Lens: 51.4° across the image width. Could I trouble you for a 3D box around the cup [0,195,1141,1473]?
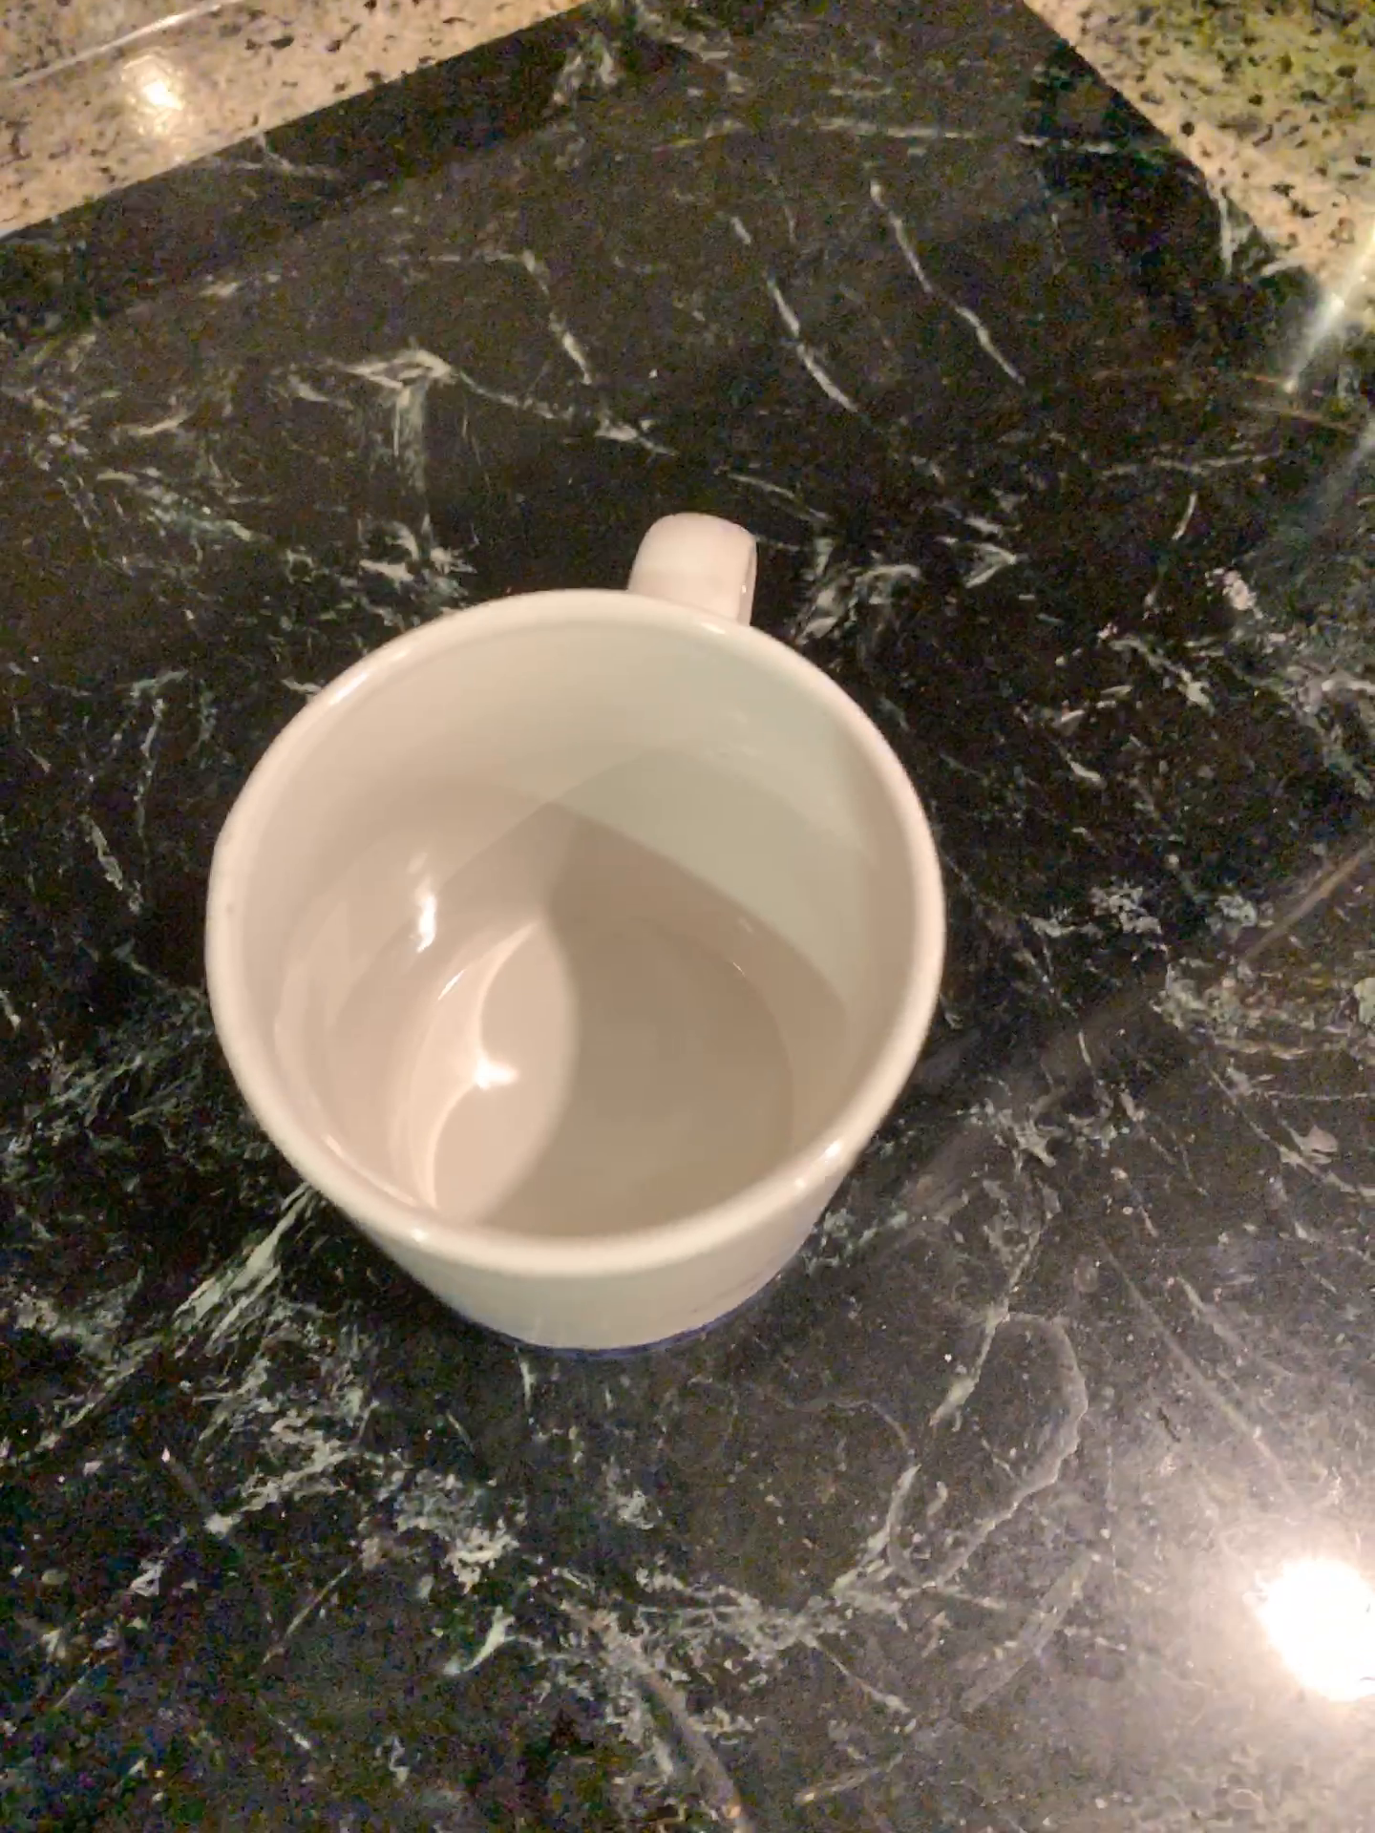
[{"bbox_3d":[-0.005,-0.003,0.197,0.090,0.099,0.131,13,68,4],"label":"cup"}]
